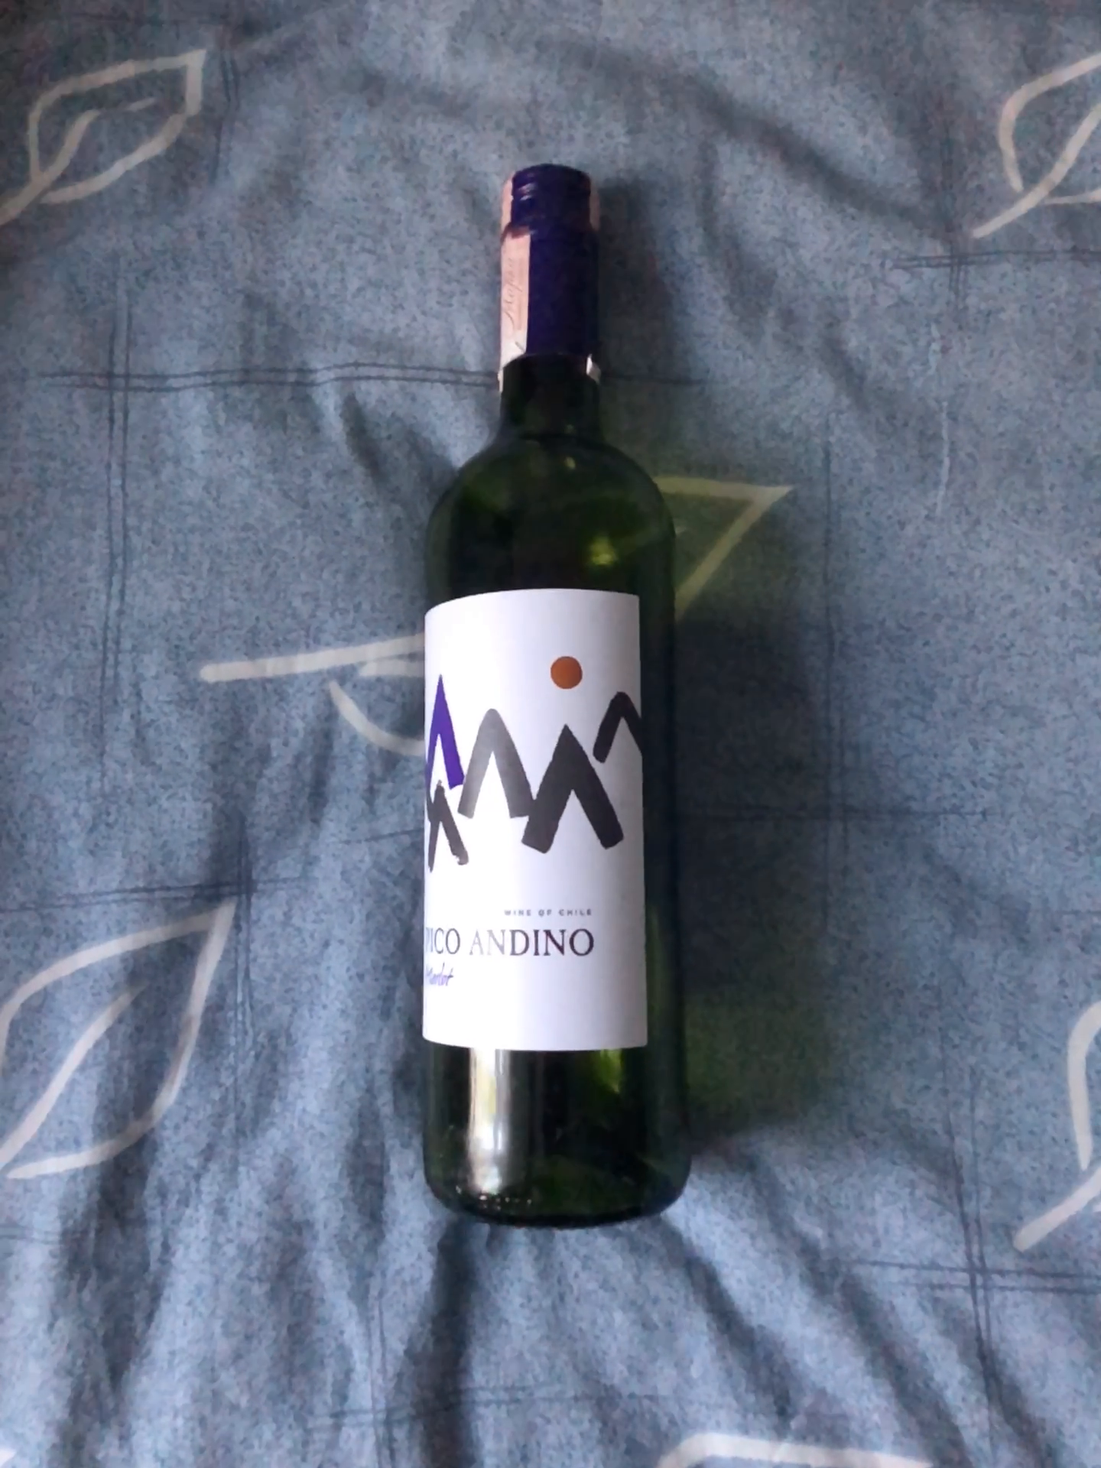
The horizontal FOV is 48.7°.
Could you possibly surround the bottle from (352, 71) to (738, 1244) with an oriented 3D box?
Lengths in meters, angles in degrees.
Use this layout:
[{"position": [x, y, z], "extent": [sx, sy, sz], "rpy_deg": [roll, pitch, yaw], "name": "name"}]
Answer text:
[{"position": [0.001, -0.021, 0.348], "extent": [0.080, 0.080, 0.290], "rpy_deg": [-4, 82, 22], "name": "bottle"}]
